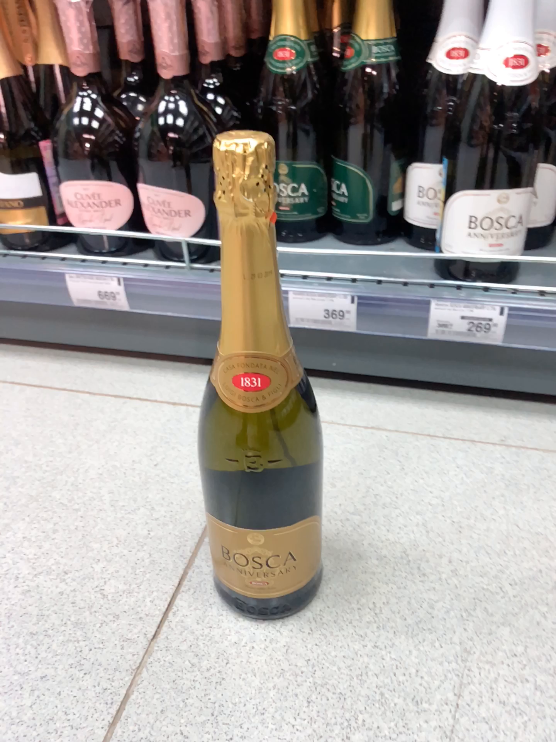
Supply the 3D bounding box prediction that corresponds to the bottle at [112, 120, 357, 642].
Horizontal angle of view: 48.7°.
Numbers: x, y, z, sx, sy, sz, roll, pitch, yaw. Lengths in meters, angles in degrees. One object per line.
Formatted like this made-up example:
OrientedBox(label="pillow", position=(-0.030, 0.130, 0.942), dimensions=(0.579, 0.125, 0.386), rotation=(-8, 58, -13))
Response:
OrientedBox(label="bottle", position=(-0.009, 0.020, 0.384), dimensions=(0.100, 0.314, 0.101), rotation=(-2, 31, 1))
